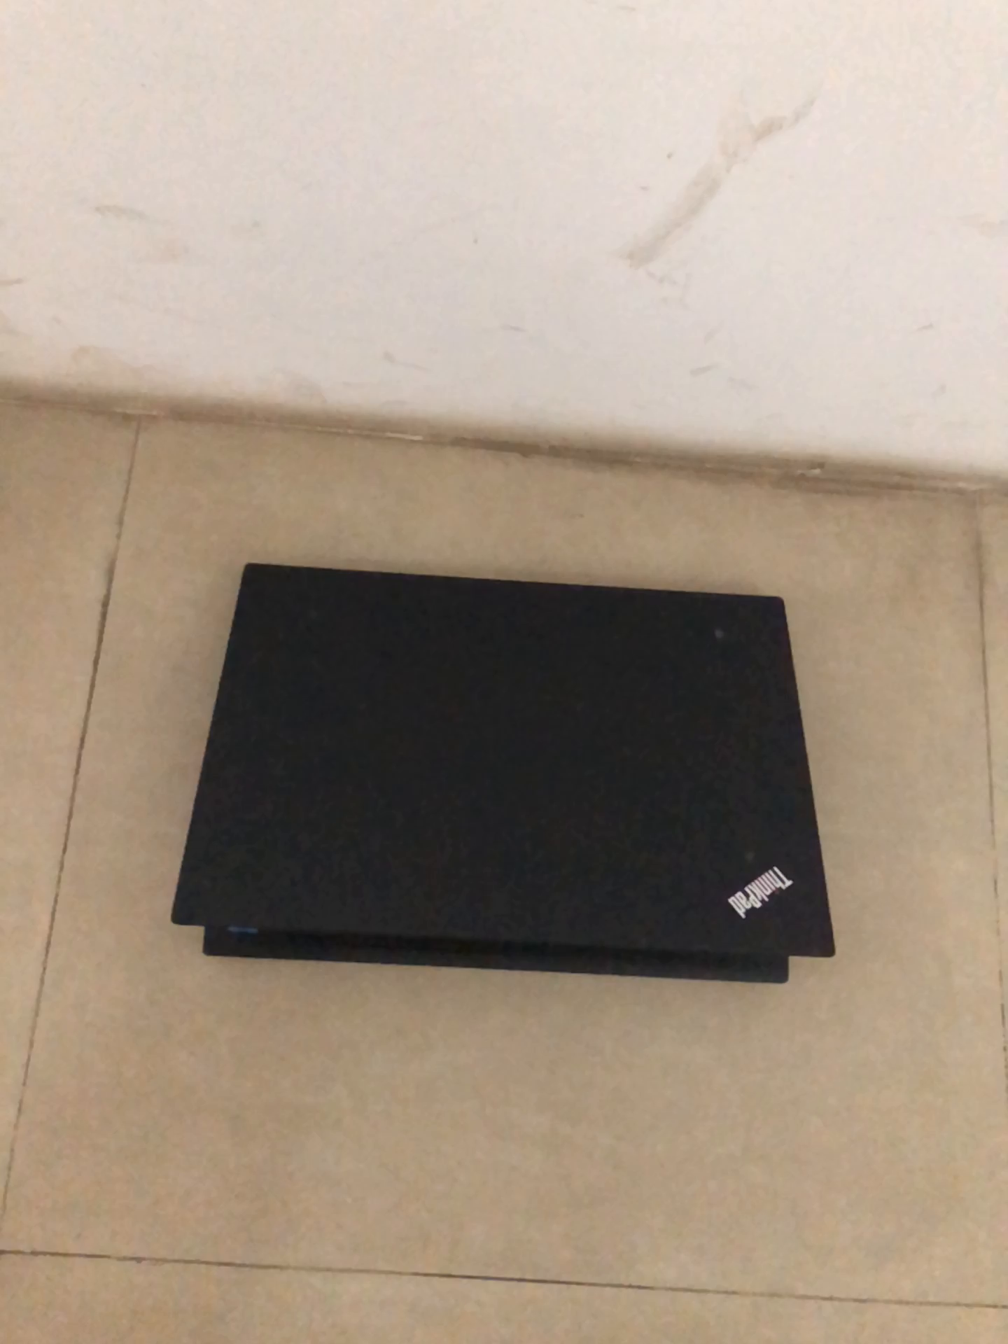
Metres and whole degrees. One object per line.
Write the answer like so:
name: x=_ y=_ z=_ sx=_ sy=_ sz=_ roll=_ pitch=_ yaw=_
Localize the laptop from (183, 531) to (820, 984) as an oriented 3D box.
laptop: x=0.004 y=0.054 z=0.666 sx=0.349 sy=0.071 sz=0.236 roll=4 pitch=77 yaw=-1
